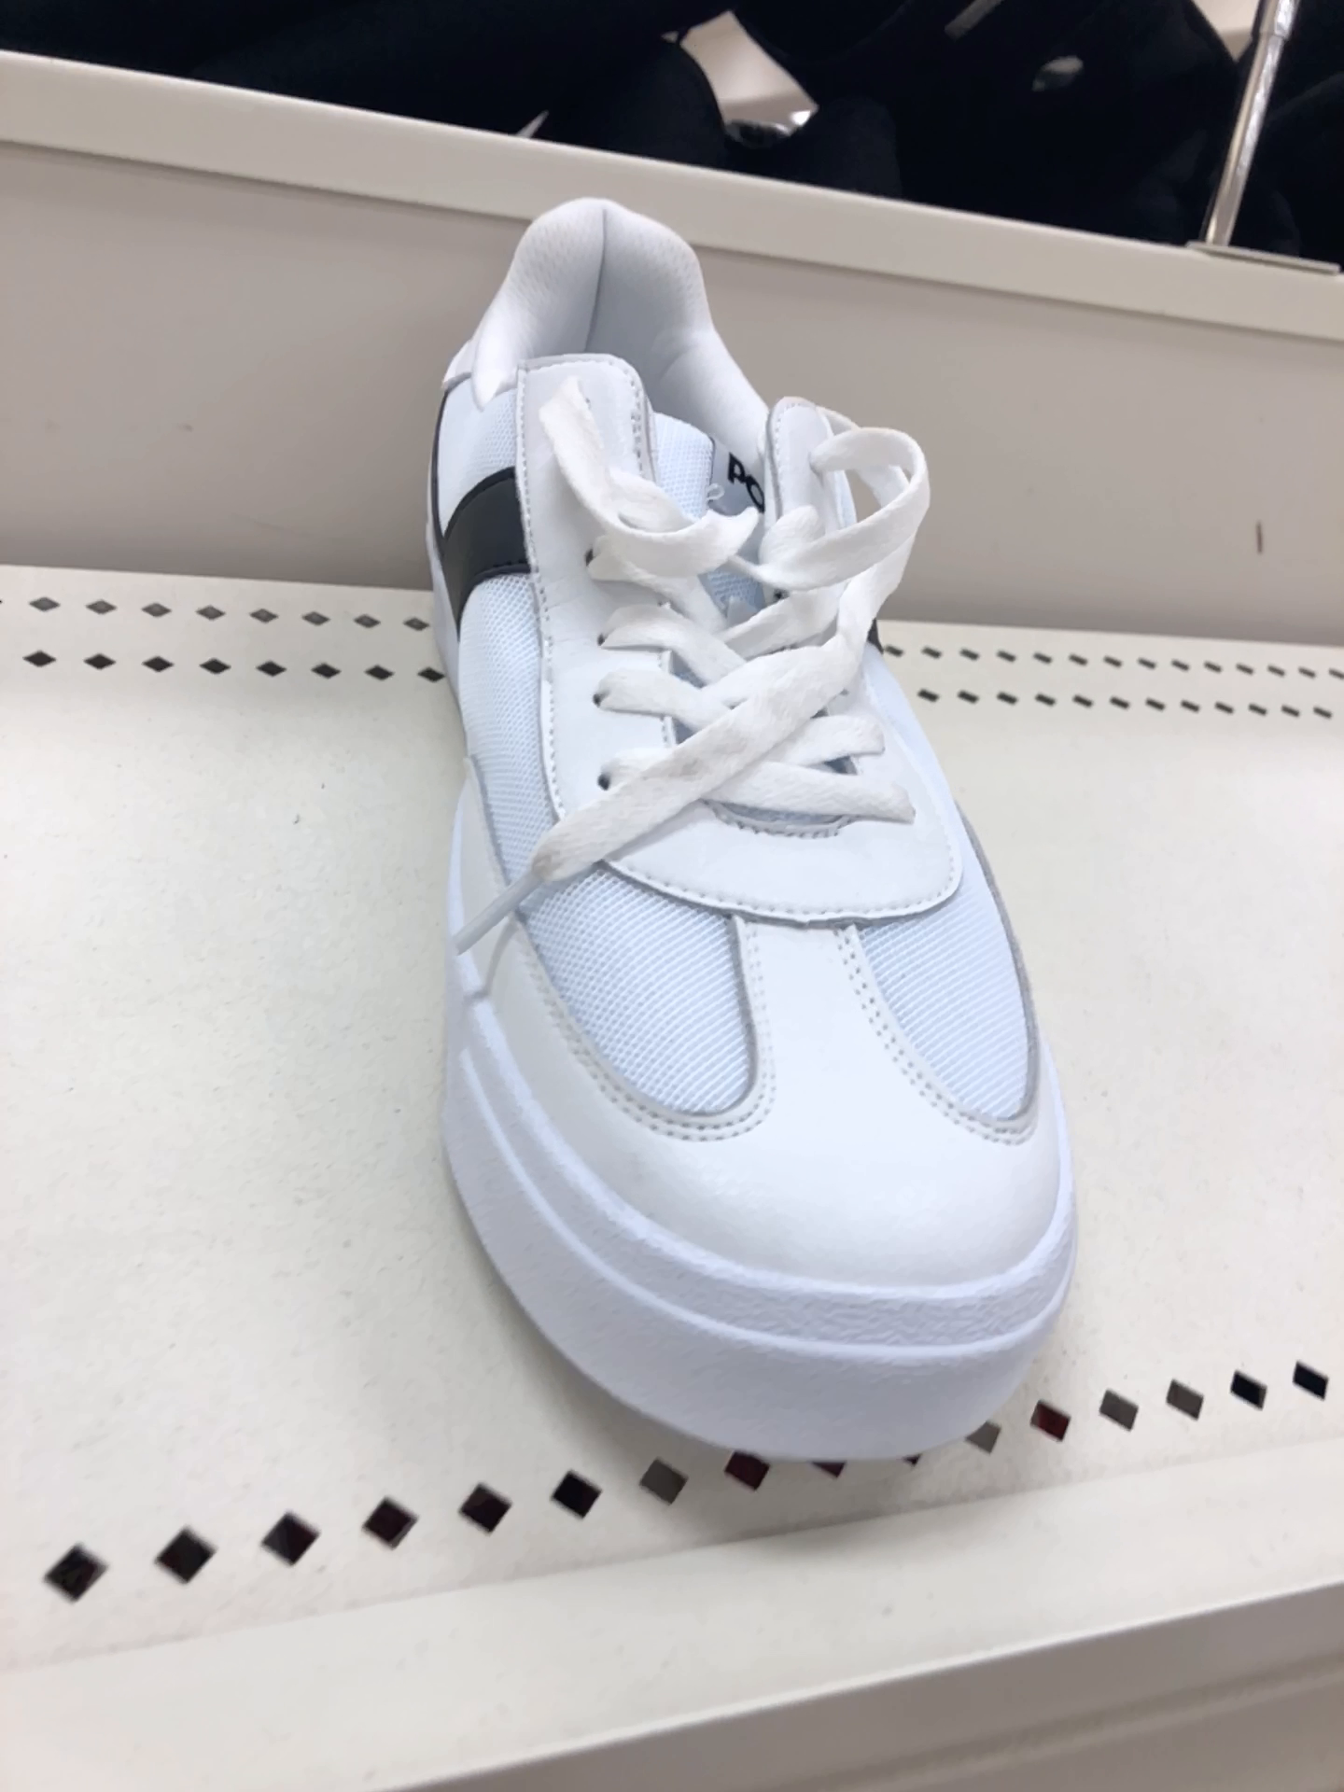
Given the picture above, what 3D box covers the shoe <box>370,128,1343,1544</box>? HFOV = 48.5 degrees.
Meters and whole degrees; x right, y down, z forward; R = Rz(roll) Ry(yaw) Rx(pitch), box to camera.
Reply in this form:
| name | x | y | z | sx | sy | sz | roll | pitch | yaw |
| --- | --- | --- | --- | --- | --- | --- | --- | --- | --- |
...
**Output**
| name | x | y | z | sx | sy | sz | roll | pitch | yaw |
| --- | --- | --- | --- | --- | --- | --- | --- | --- | --- |
| shoe | 0.004 | -0.071 | 0.317 | 0.113 | 0.129 | 0.373 | 2 | 29 | -15 |
